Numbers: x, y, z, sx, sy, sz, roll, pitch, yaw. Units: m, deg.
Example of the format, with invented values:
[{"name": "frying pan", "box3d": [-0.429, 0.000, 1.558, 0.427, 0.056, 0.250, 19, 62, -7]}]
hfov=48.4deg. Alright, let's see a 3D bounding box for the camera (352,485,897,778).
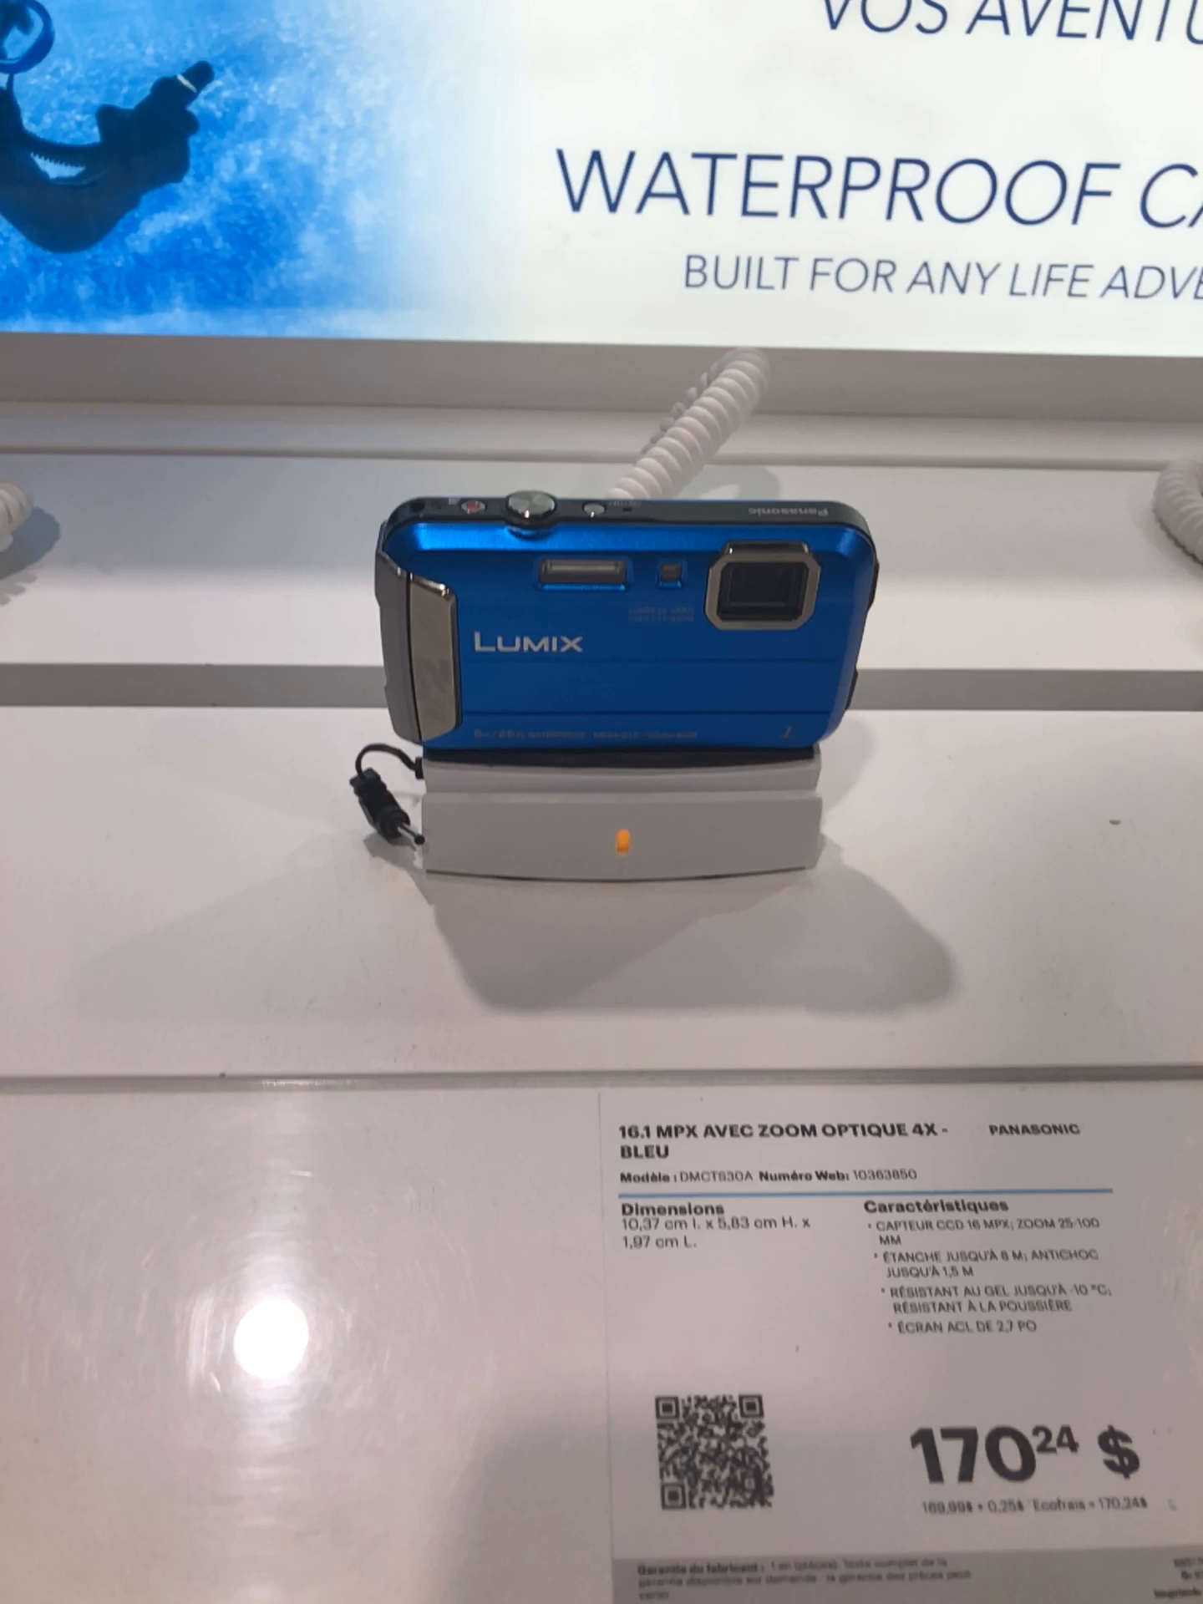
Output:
[{"name": "camera", "box3d": [0.004, -0.036, 0.285, 0.106, 0.060, 0.020, -1, 39, -3]}]
